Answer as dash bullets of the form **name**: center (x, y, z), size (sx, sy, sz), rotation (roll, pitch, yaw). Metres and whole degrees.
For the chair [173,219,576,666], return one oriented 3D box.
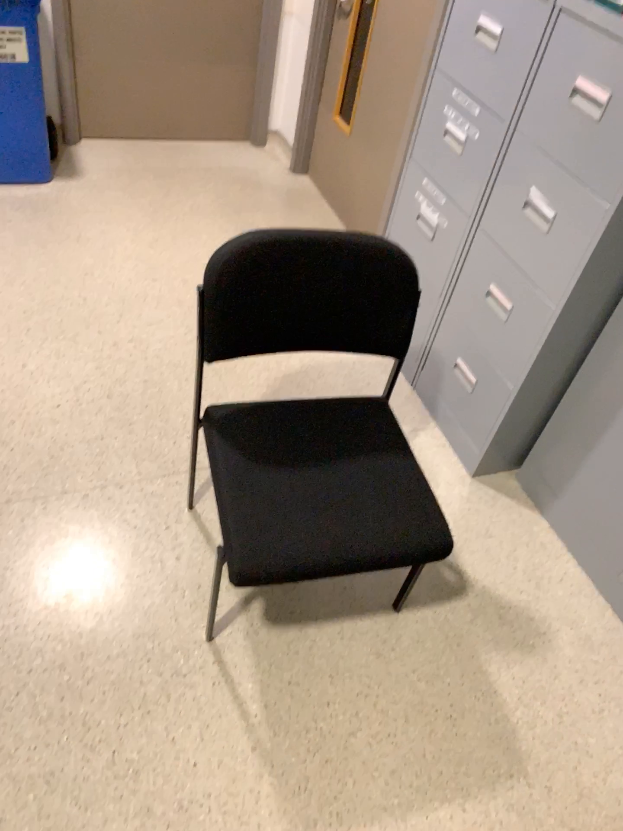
- **chair**: center (0.027, 0.073, 1.536), size (0.631, 0.852, 0.595), rotation (-4, 46, -18)
